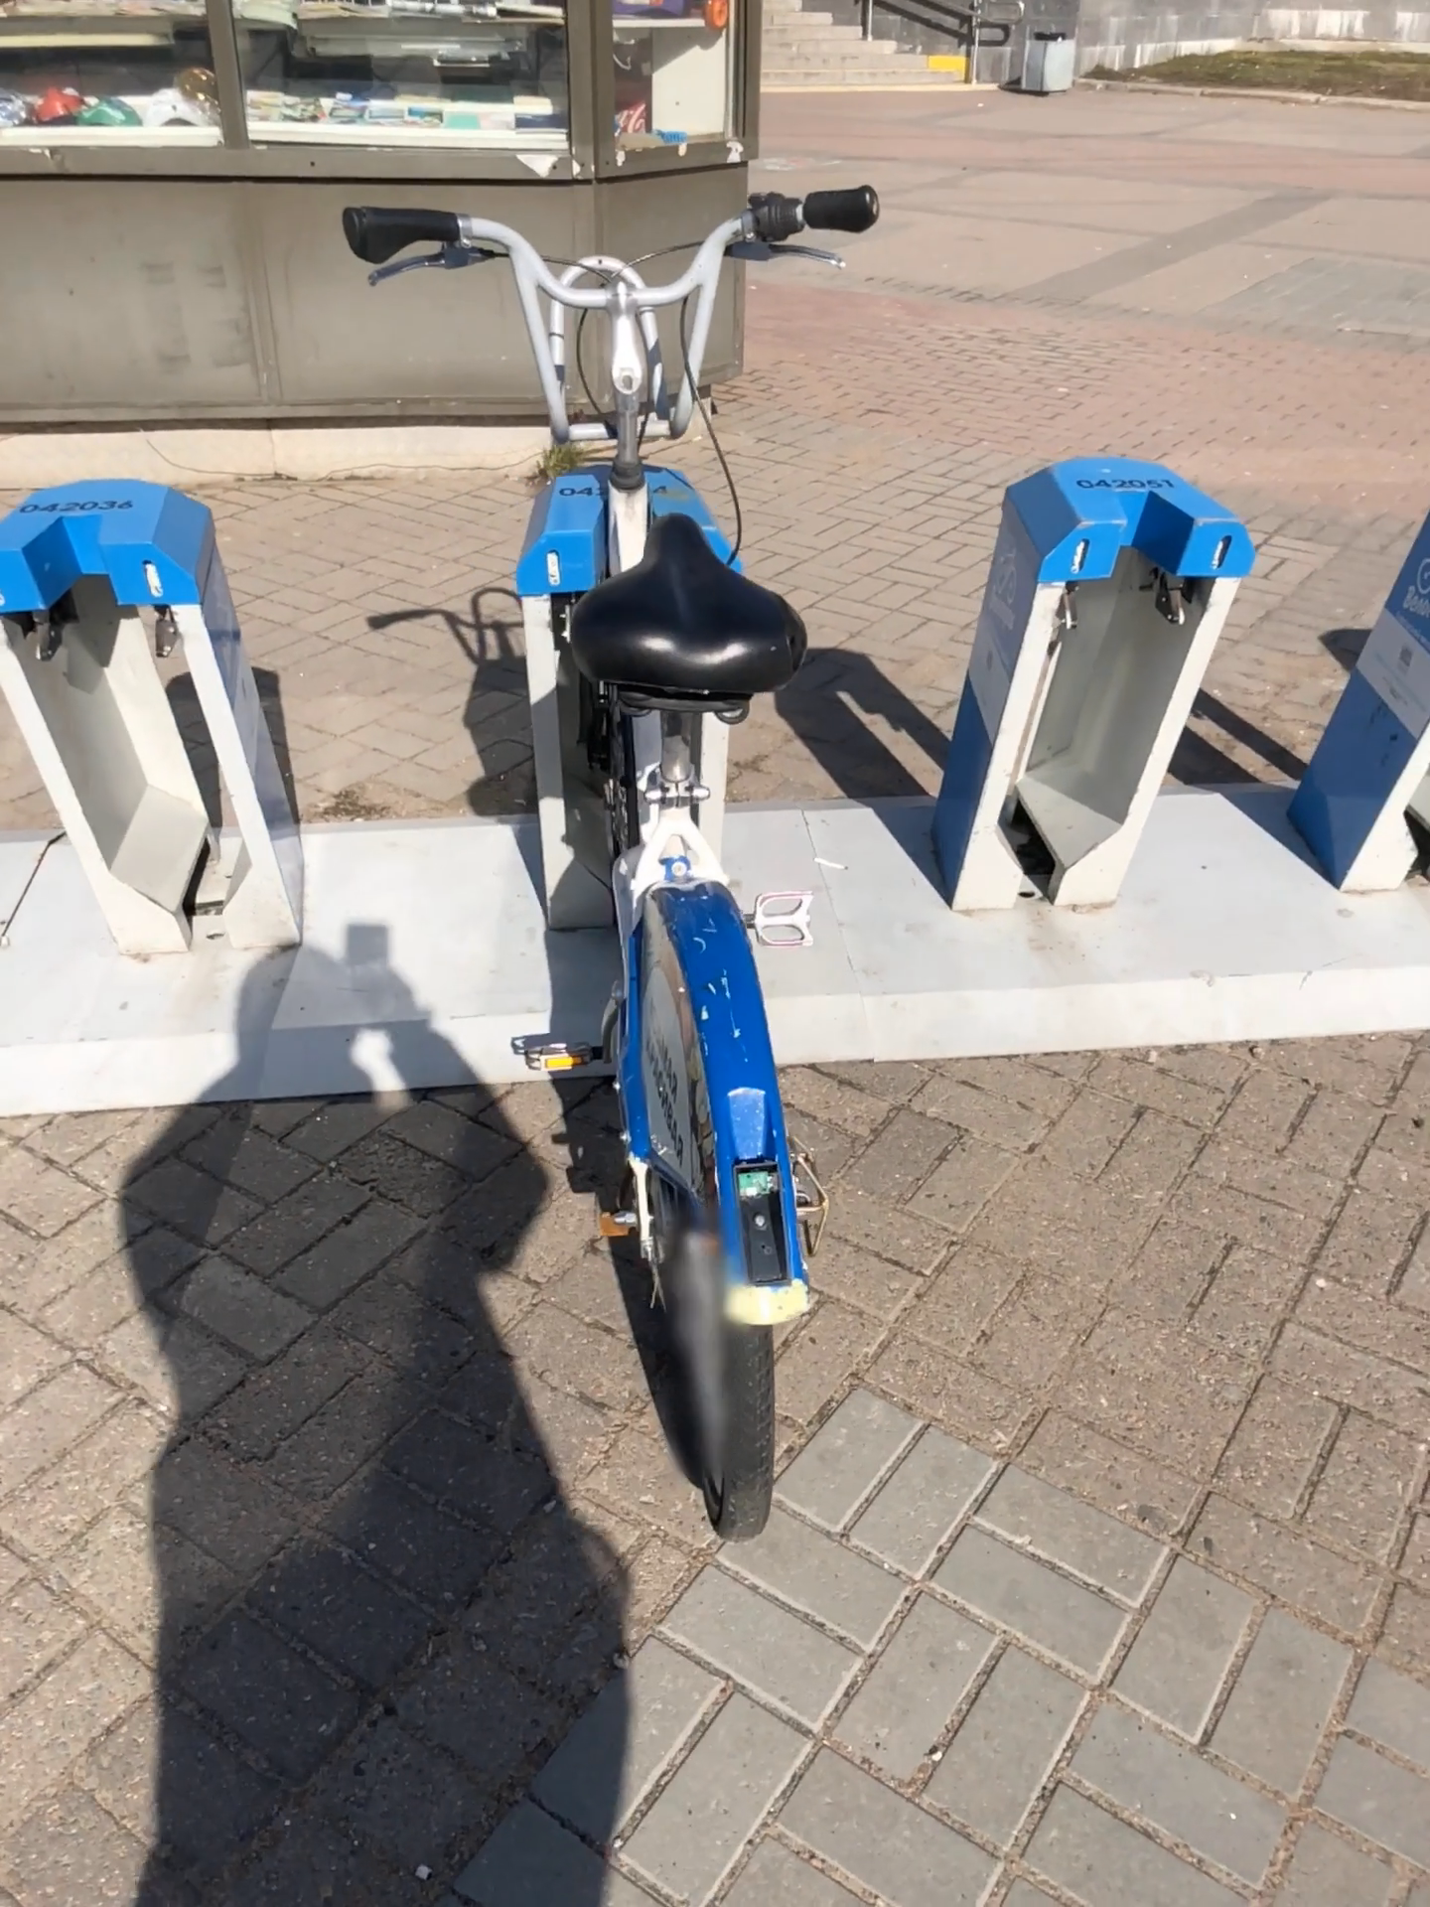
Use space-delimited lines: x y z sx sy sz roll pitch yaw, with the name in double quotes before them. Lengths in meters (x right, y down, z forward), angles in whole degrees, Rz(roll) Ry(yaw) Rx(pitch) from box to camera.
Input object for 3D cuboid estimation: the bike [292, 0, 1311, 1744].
"bike" -0.032 -0.303 1.836 0.595 1.203 1.636 -3 36 -6
